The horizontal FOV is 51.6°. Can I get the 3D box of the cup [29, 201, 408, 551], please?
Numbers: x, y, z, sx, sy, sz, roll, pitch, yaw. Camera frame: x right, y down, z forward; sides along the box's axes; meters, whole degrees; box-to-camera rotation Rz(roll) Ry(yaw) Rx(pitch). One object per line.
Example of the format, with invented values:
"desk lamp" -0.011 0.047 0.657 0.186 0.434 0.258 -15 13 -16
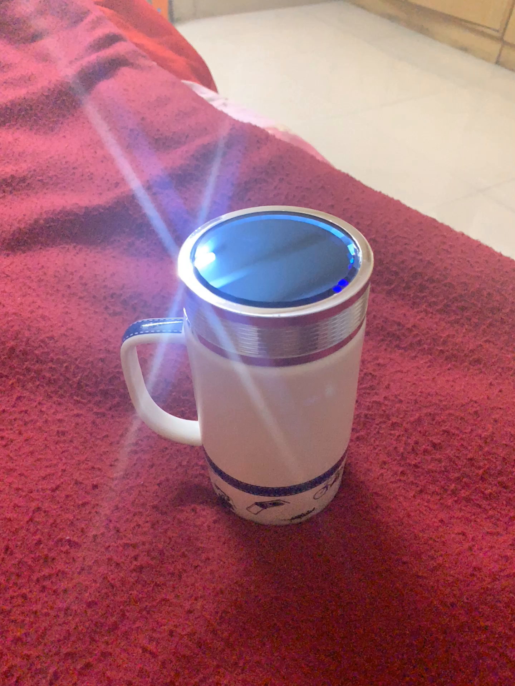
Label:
"cup" -0.011 0.020 0.248 0.120 0.139 0.091 -1 42 1
